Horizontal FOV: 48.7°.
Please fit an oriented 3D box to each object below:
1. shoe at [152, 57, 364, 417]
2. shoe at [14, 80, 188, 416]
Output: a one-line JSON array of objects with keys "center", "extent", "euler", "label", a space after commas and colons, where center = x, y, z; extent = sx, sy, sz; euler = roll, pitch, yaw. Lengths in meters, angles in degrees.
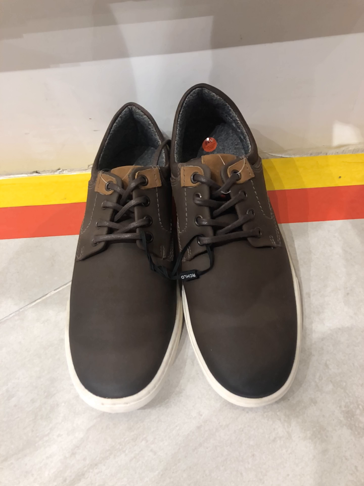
[{"center": [0.044, -0.010, 0.334], "extent": [0.100, 0.100, 0.271], "euler": [-8, 66, 1], "label": "shoe"}, {"center": [-0.051, -0.001, 0.350], "extent": [0.100, 0.100, 0.271], "euler": [-3, 63, 4], "label": "shoe"}]
